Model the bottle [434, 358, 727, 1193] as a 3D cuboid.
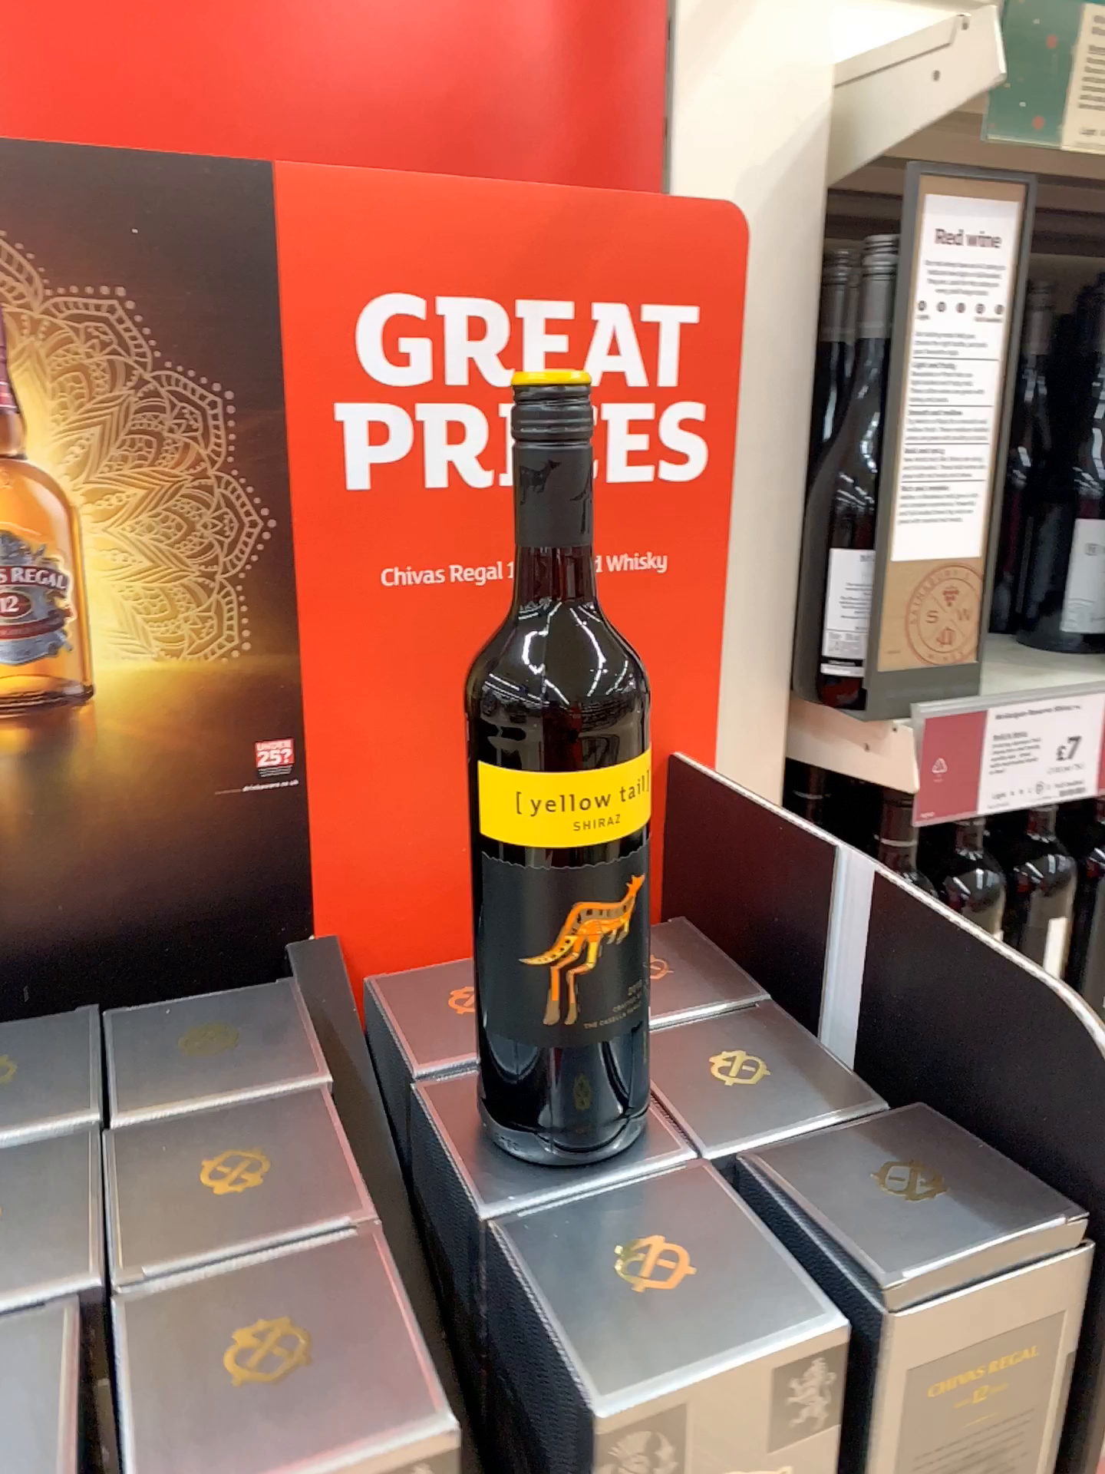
[{"bbox_3d":[0.004,0.014,0.442,0.077,0.305,0.081,1,17,0],"label":"bottle"}]
